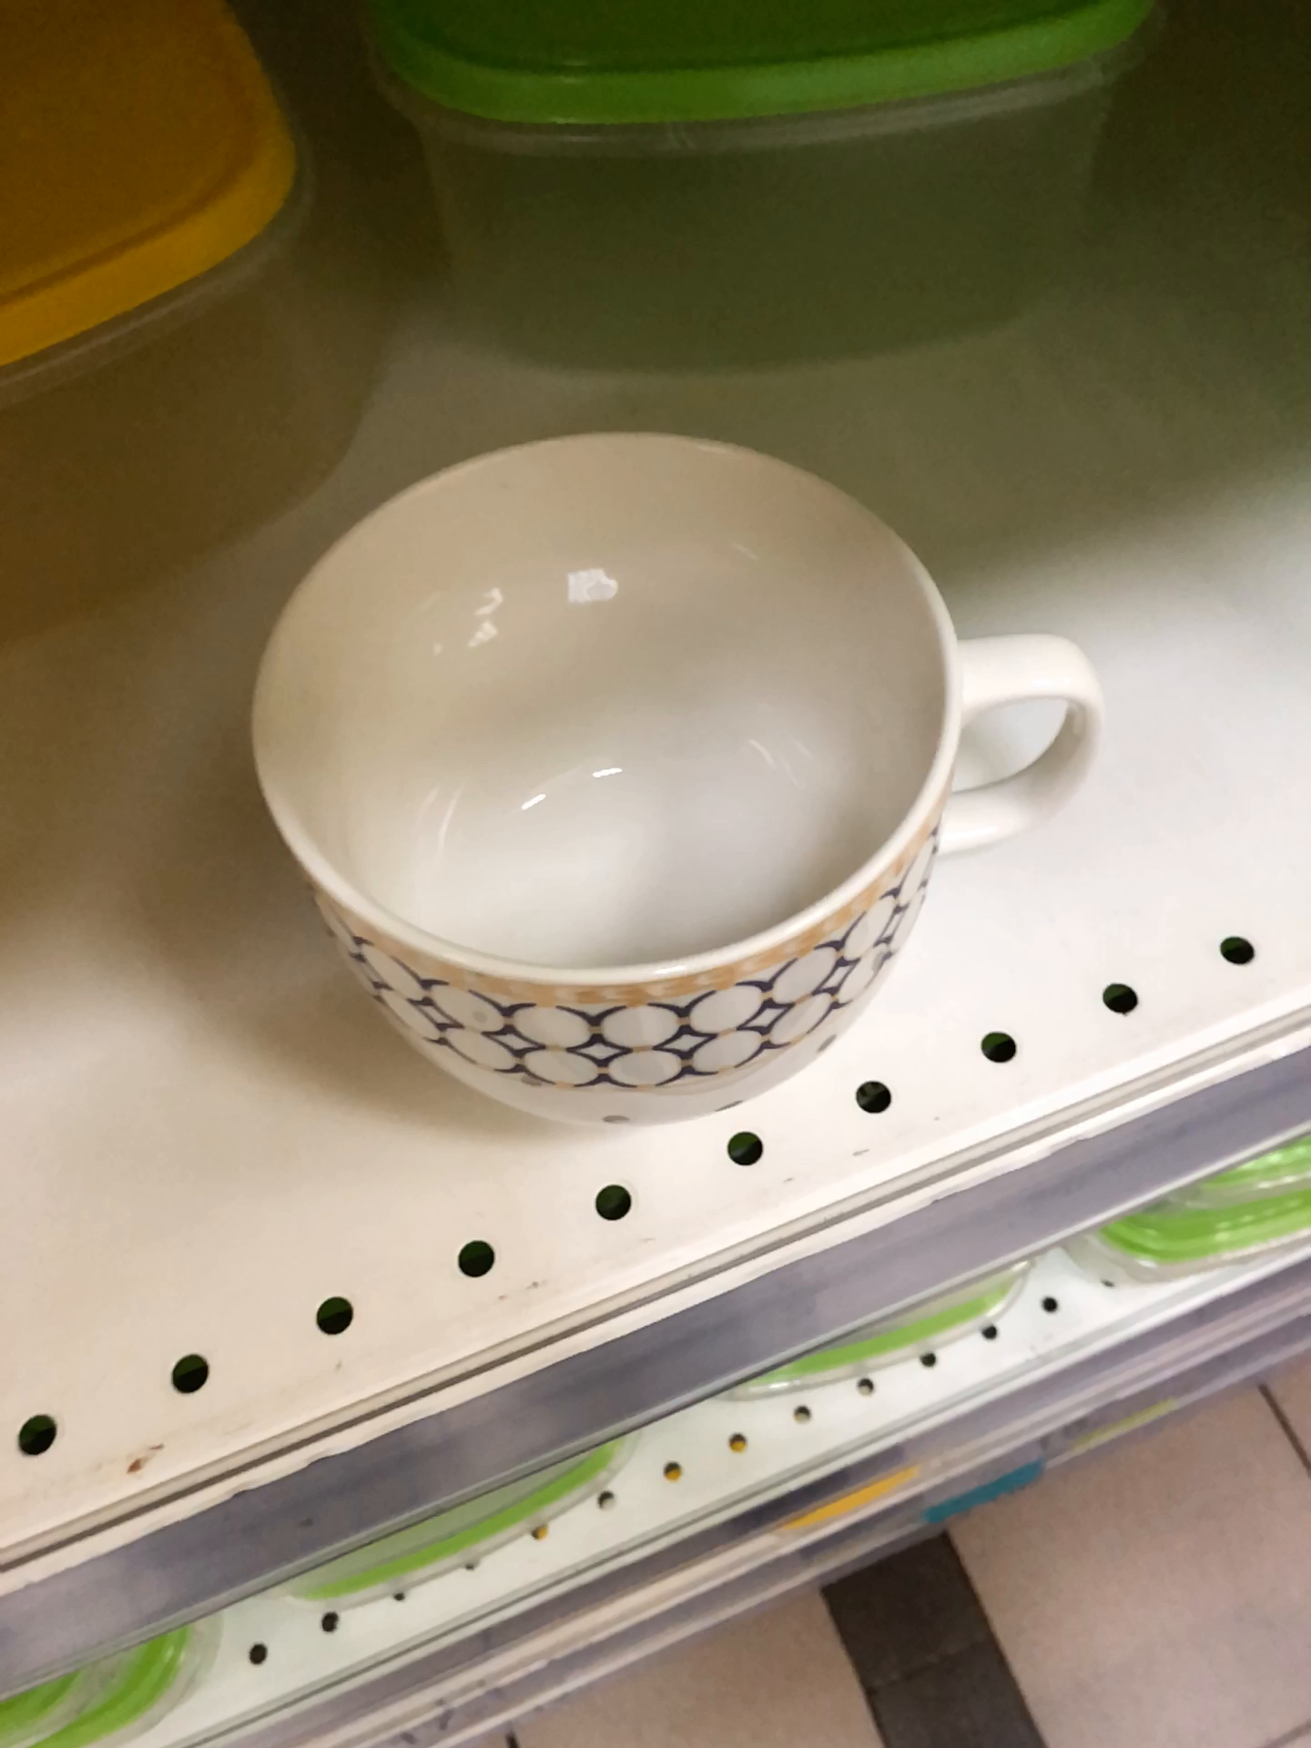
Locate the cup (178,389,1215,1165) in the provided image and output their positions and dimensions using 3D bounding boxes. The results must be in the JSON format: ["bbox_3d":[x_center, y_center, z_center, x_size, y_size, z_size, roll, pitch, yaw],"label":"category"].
[{"bbox_3d":[0.004,-0.016,0.242,0.134,0.062,0.105,-3,60,1],"label":"cup"}]
